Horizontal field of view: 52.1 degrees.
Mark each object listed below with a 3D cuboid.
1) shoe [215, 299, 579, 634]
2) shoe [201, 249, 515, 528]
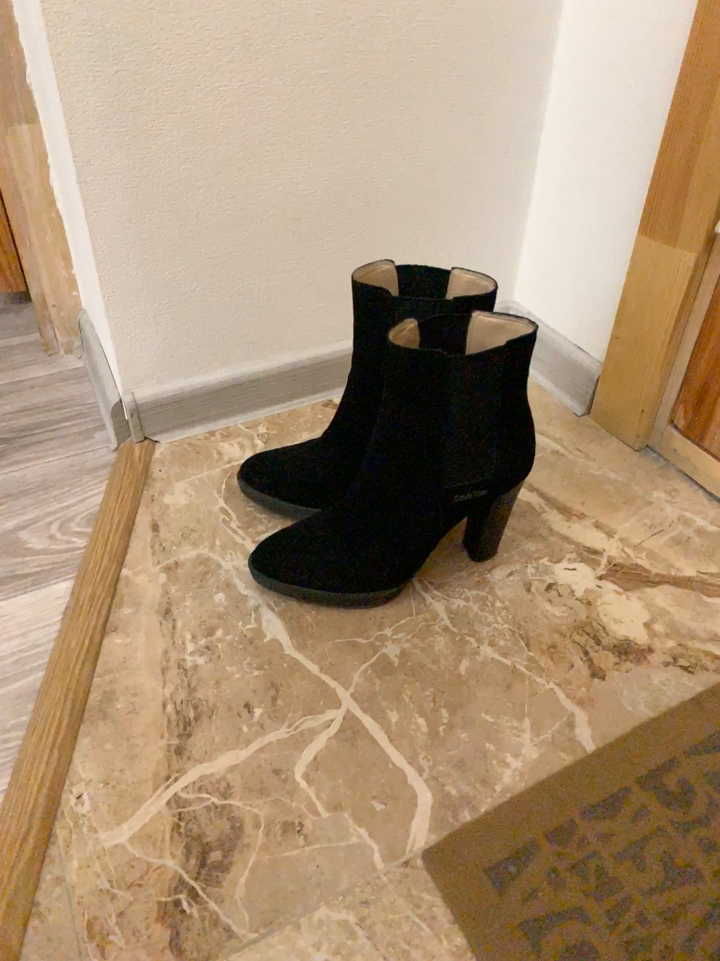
[{"bbox_3d":[0.019,-0.009,0.529,0.214,0.198,0.087,-9,40,-13],"label":"shoe"},{"bbox_3d":[-0.006,-0.071,0.596,0.214,0.198,0.087,-3,39,-6],"label":"shoe"}]
